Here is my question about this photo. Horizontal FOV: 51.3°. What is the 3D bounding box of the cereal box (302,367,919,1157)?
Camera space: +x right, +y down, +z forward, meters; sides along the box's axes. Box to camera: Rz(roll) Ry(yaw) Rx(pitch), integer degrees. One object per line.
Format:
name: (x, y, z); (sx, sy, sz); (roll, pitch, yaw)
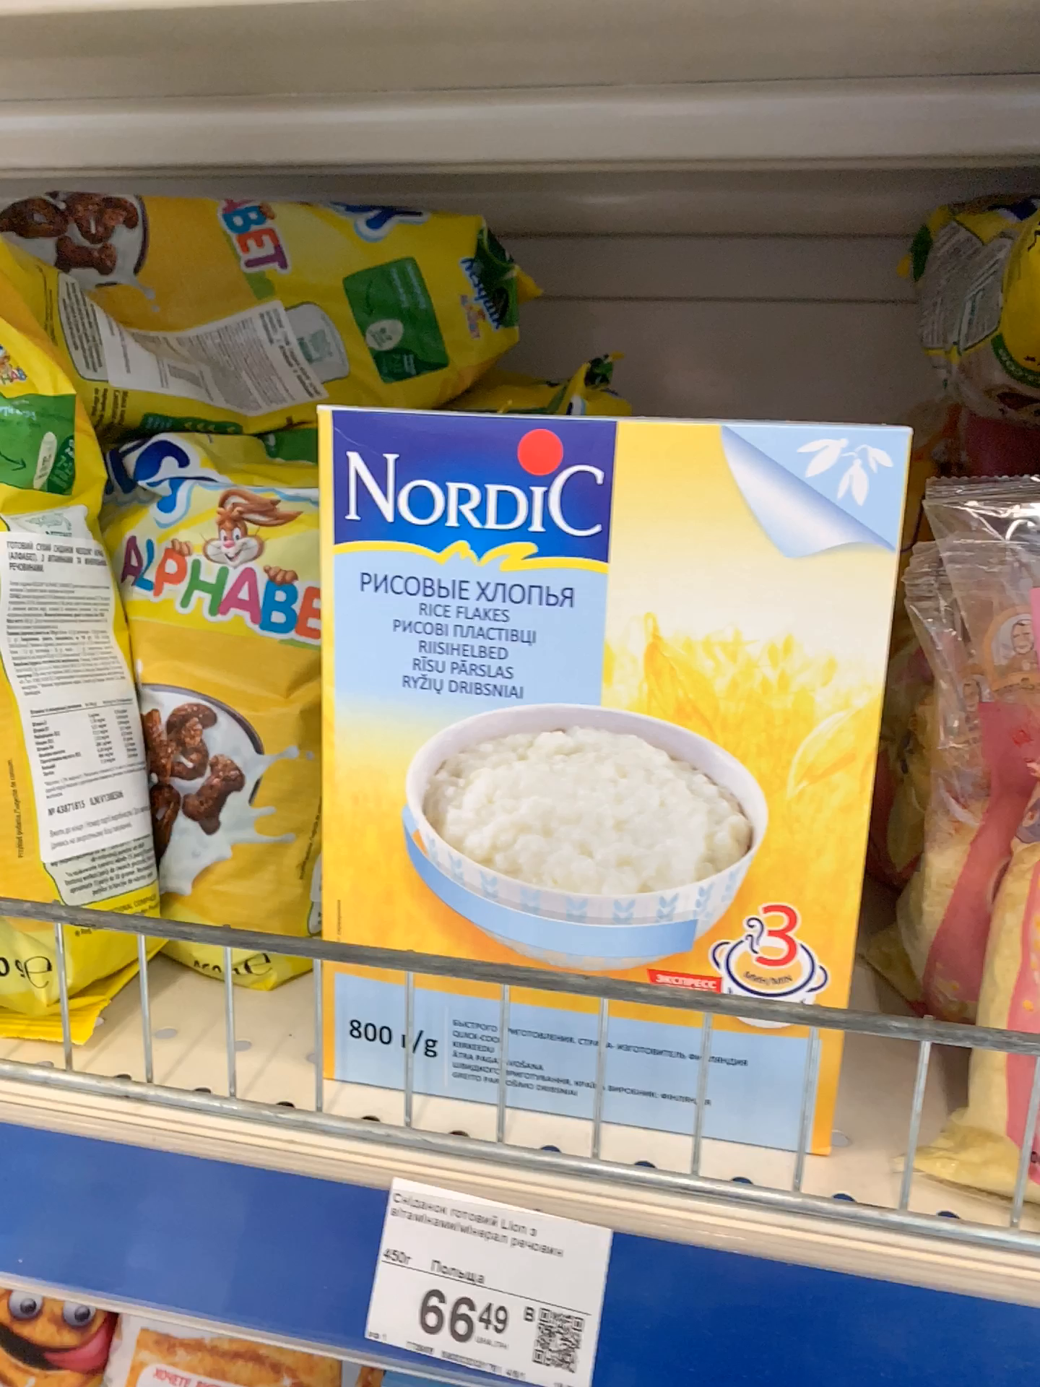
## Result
cereal box: (0.023, 0.011, 0.320); (0.150, 0.199, 0.080); (4, 12, 12)
